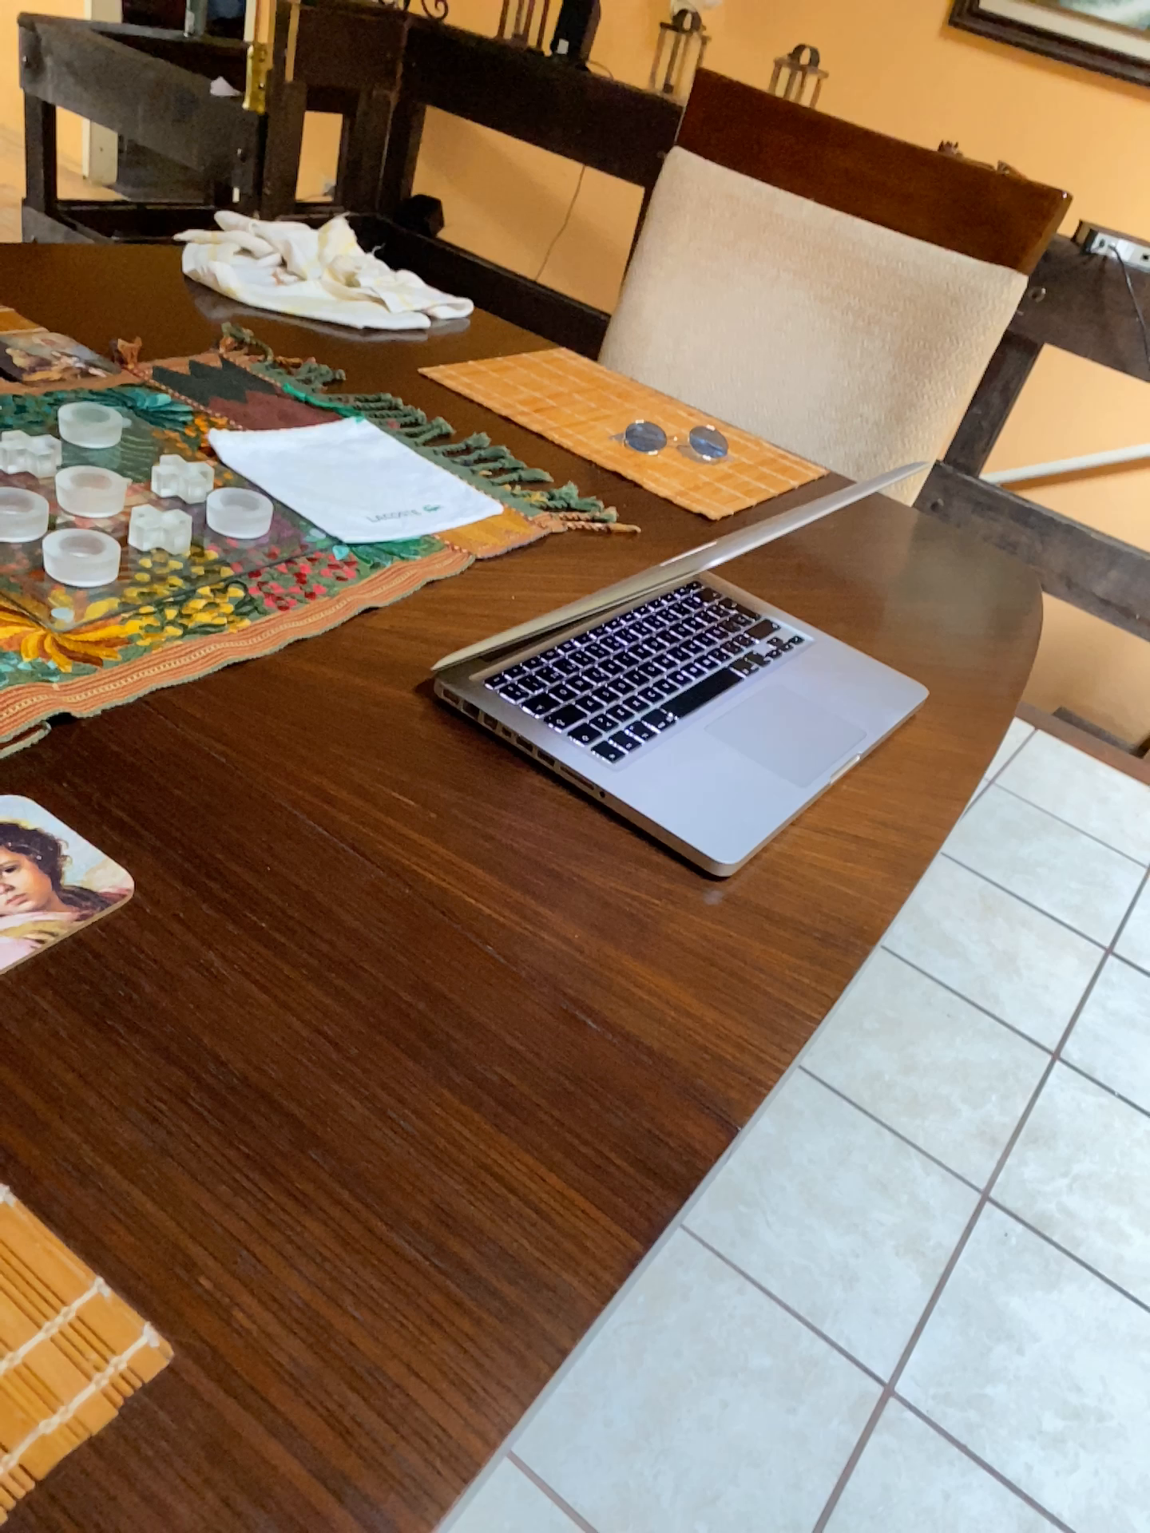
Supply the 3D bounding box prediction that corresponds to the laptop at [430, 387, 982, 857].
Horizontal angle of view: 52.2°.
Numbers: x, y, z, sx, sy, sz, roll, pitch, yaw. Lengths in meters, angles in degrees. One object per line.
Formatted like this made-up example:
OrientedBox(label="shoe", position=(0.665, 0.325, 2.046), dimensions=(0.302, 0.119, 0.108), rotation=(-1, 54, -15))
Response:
OrientedBox(label="laptop", position=(0.098, -0.121, 0.787), dimensions=(0.213, 0.152, 0.323), rotation=(31, 36, 20))
